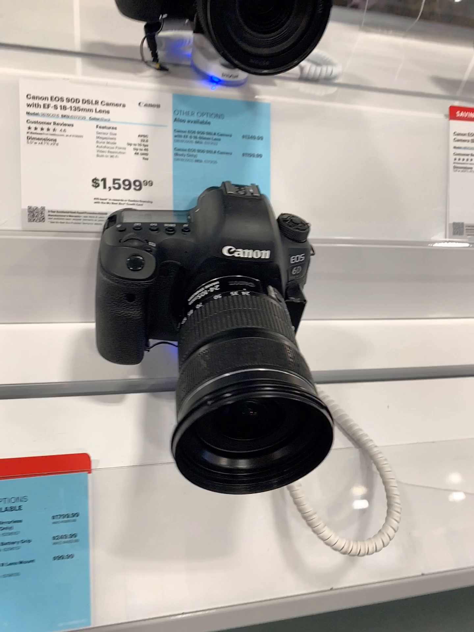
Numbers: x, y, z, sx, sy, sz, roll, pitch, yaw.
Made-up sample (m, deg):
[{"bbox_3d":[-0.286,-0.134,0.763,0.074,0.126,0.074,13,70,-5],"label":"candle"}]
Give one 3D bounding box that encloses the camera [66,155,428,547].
[{"bbox_3d":[-0.014,0.010,0.285,0.137,0.124,0.180,0,44,-12],"label":"camera"}]
